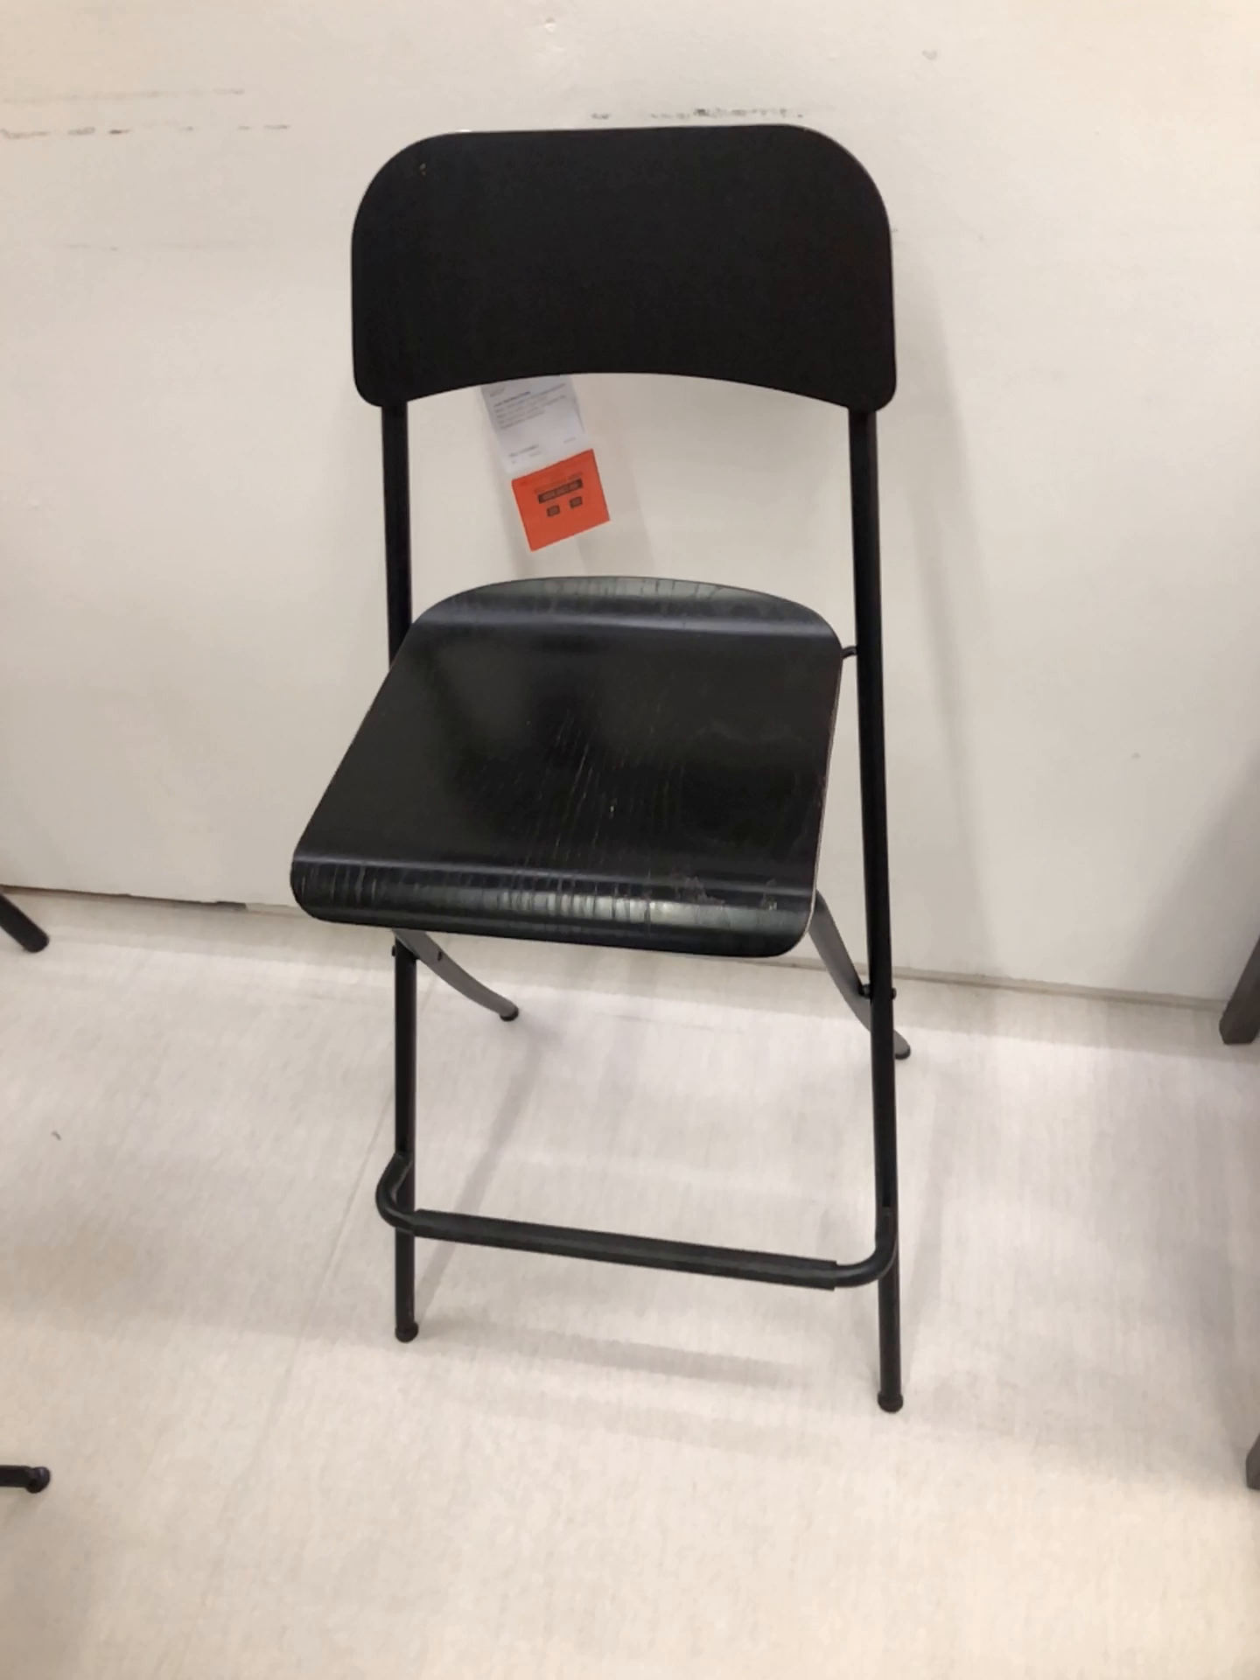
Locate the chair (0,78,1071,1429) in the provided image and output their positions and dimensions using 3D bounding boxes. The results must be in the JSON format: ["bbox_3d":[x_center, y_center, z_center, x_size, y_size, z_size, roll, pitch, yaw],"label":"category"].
[{"bbox_3d":[0.011,0.001,1.042,0.490,0.884,0.473,3,47,11],"label":"chair"}]
